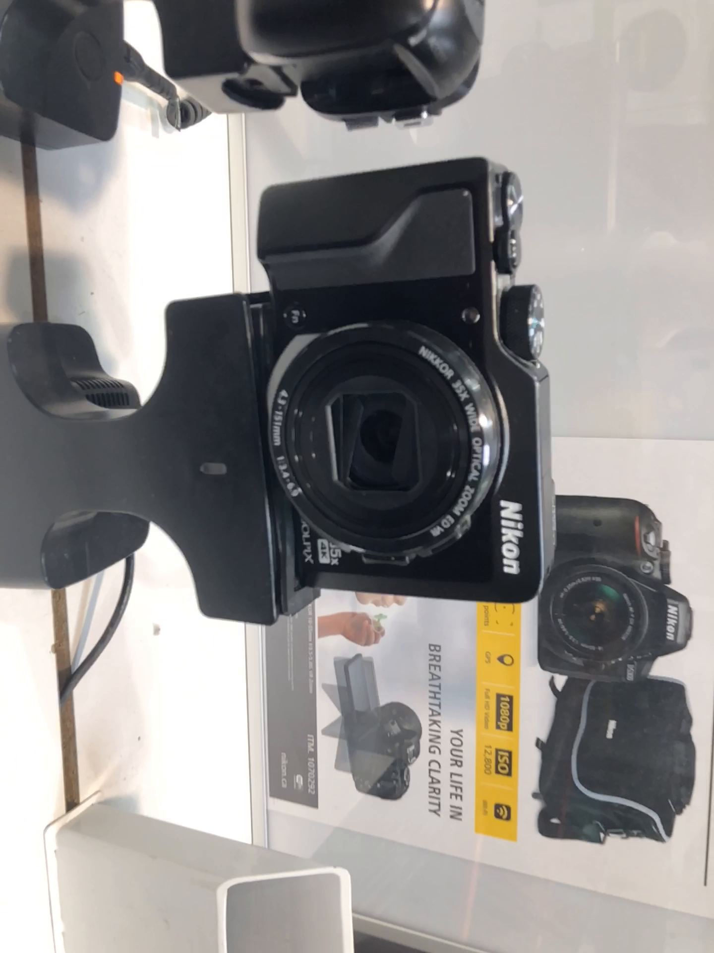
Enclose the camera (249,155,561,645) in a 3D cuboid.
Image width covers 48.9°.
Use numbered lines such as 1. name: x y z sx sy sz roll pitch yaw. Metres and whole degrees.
1. camera: 0.017 -0.020 0.214 0.044 0.069 0.116 -45 135 -65
